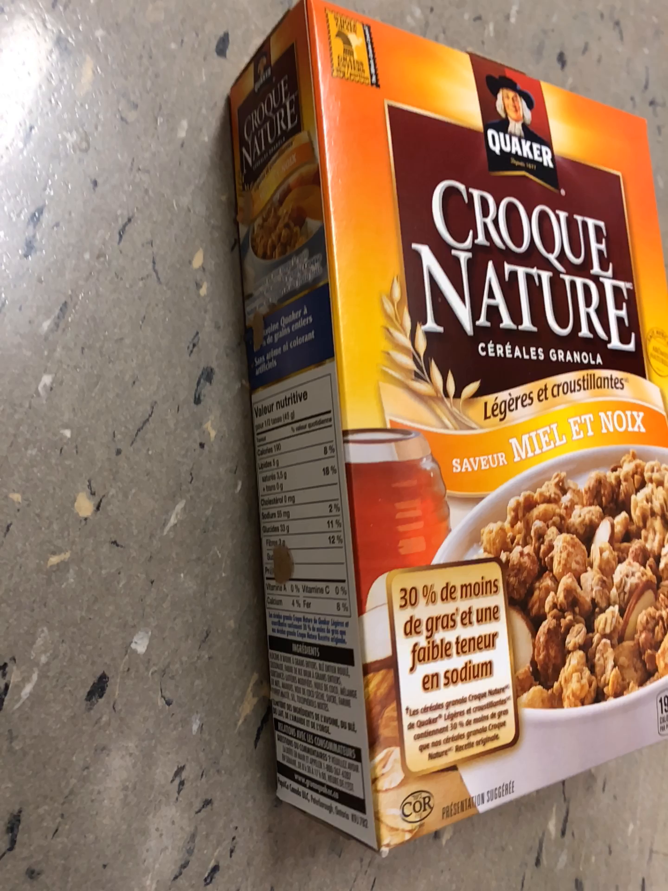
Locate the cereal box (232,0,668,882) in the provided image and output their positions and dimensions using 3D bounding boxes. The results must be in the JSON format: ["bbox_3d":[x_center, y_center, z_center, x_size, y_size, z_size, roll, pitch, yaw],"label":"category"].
[{"bbox_3d":[0.056,-0.008,0.263,0.161,0.050,0.240,-1,85,-34],"label":"cereal box"}]
